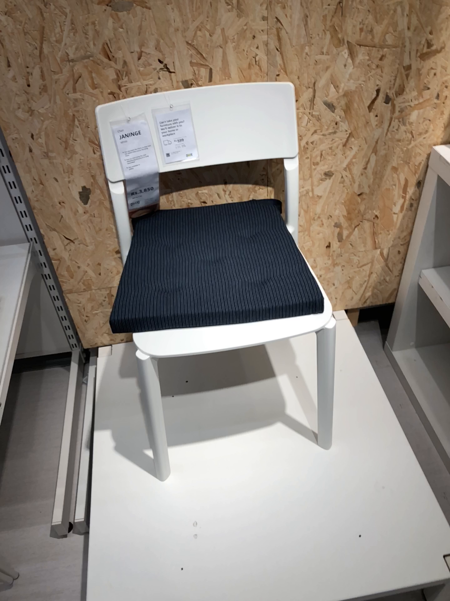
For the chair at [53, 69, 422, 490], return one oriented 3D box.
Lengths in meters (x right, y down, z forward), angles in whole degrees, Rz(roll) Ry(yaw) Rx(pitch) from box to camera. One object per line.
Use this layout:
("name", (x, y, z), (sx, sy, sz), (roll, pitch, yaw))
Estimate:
("chair", (0.004, -0.027, 1.046), (0.490, 0.685, 0.463), (-9, 43, -5))
